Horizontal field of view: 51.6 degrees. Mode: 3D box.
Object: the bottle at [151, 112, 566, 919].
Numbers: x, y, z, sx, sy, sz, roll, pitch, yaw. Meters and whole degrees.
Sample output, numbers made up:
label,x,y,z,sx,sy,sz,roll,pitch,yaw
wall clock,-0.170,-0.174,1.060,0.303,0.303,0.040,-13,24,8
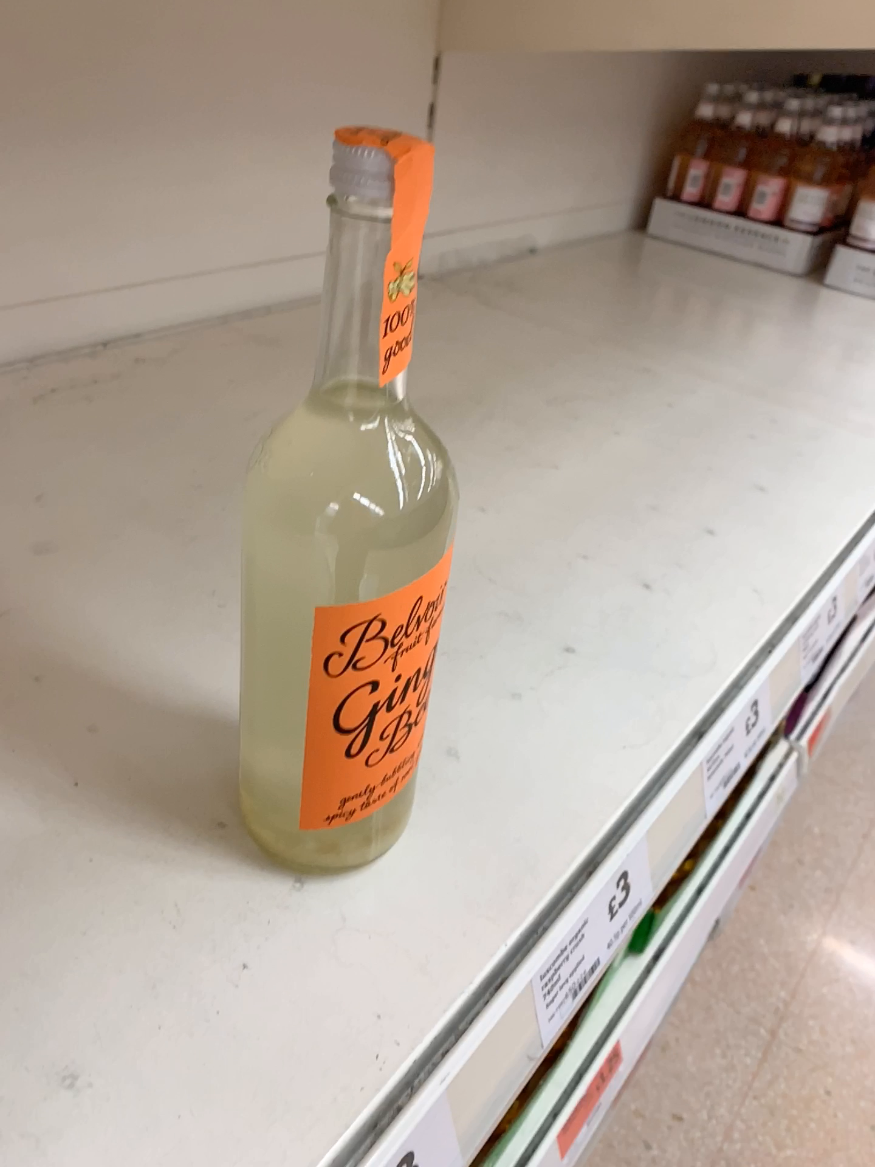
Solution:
label,x,y,z,sx,sy,sz,roll,pitch,yaw
bottle,-0.039,-0.015,0.341,0.090,0.277,0.084,6,32,-4
